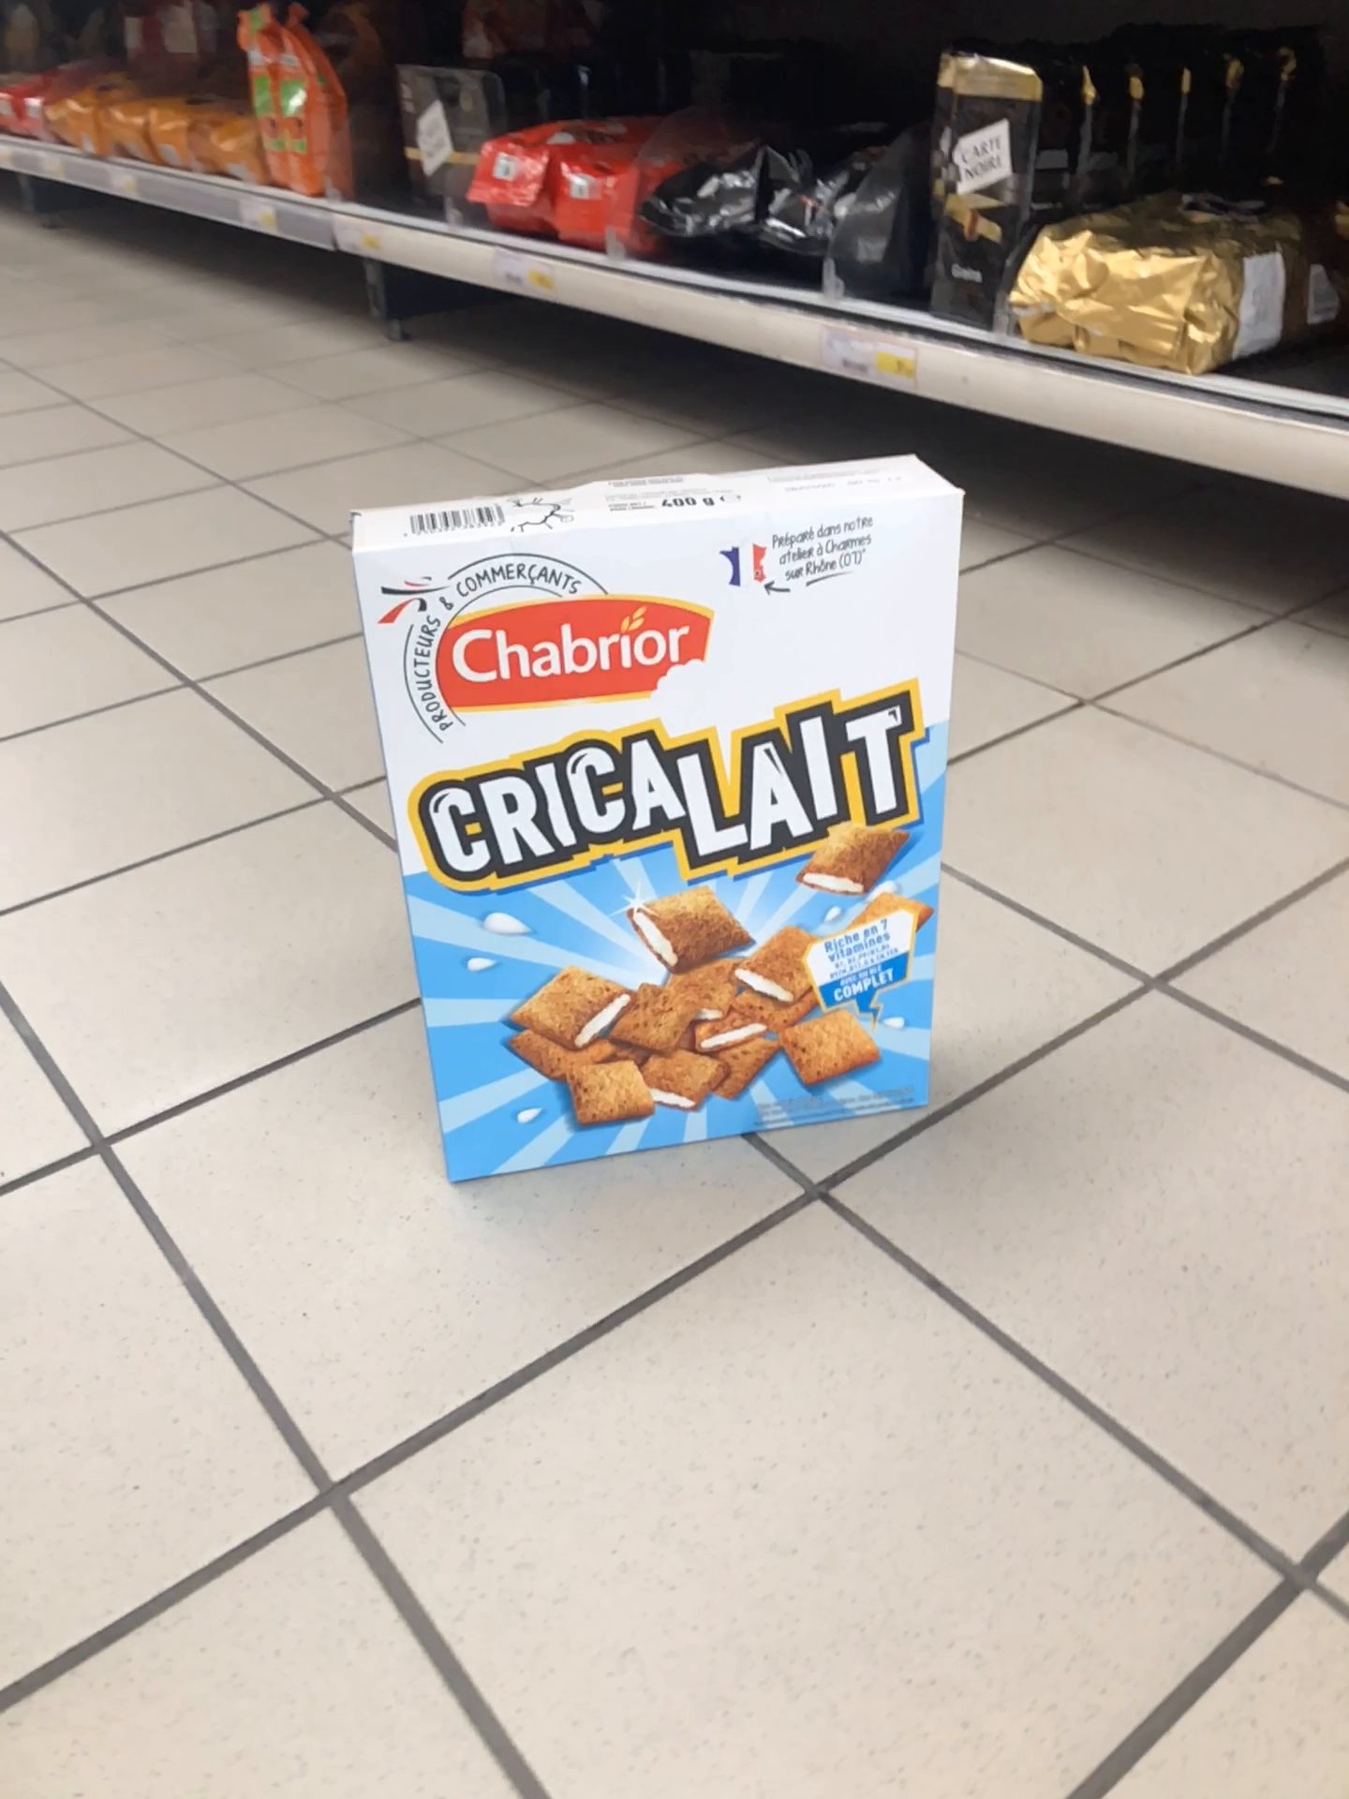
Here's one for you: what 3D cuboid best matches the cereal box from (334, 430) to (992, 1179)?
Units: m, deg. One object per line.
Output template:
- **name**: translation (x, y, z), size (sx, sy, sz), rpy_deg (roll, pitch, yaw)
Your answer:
- **cereal box**: translation (0.001, -0.026, 0.529), size (0.200, 0.248, 0.050), rpy_deg (-8, 31, -7)
